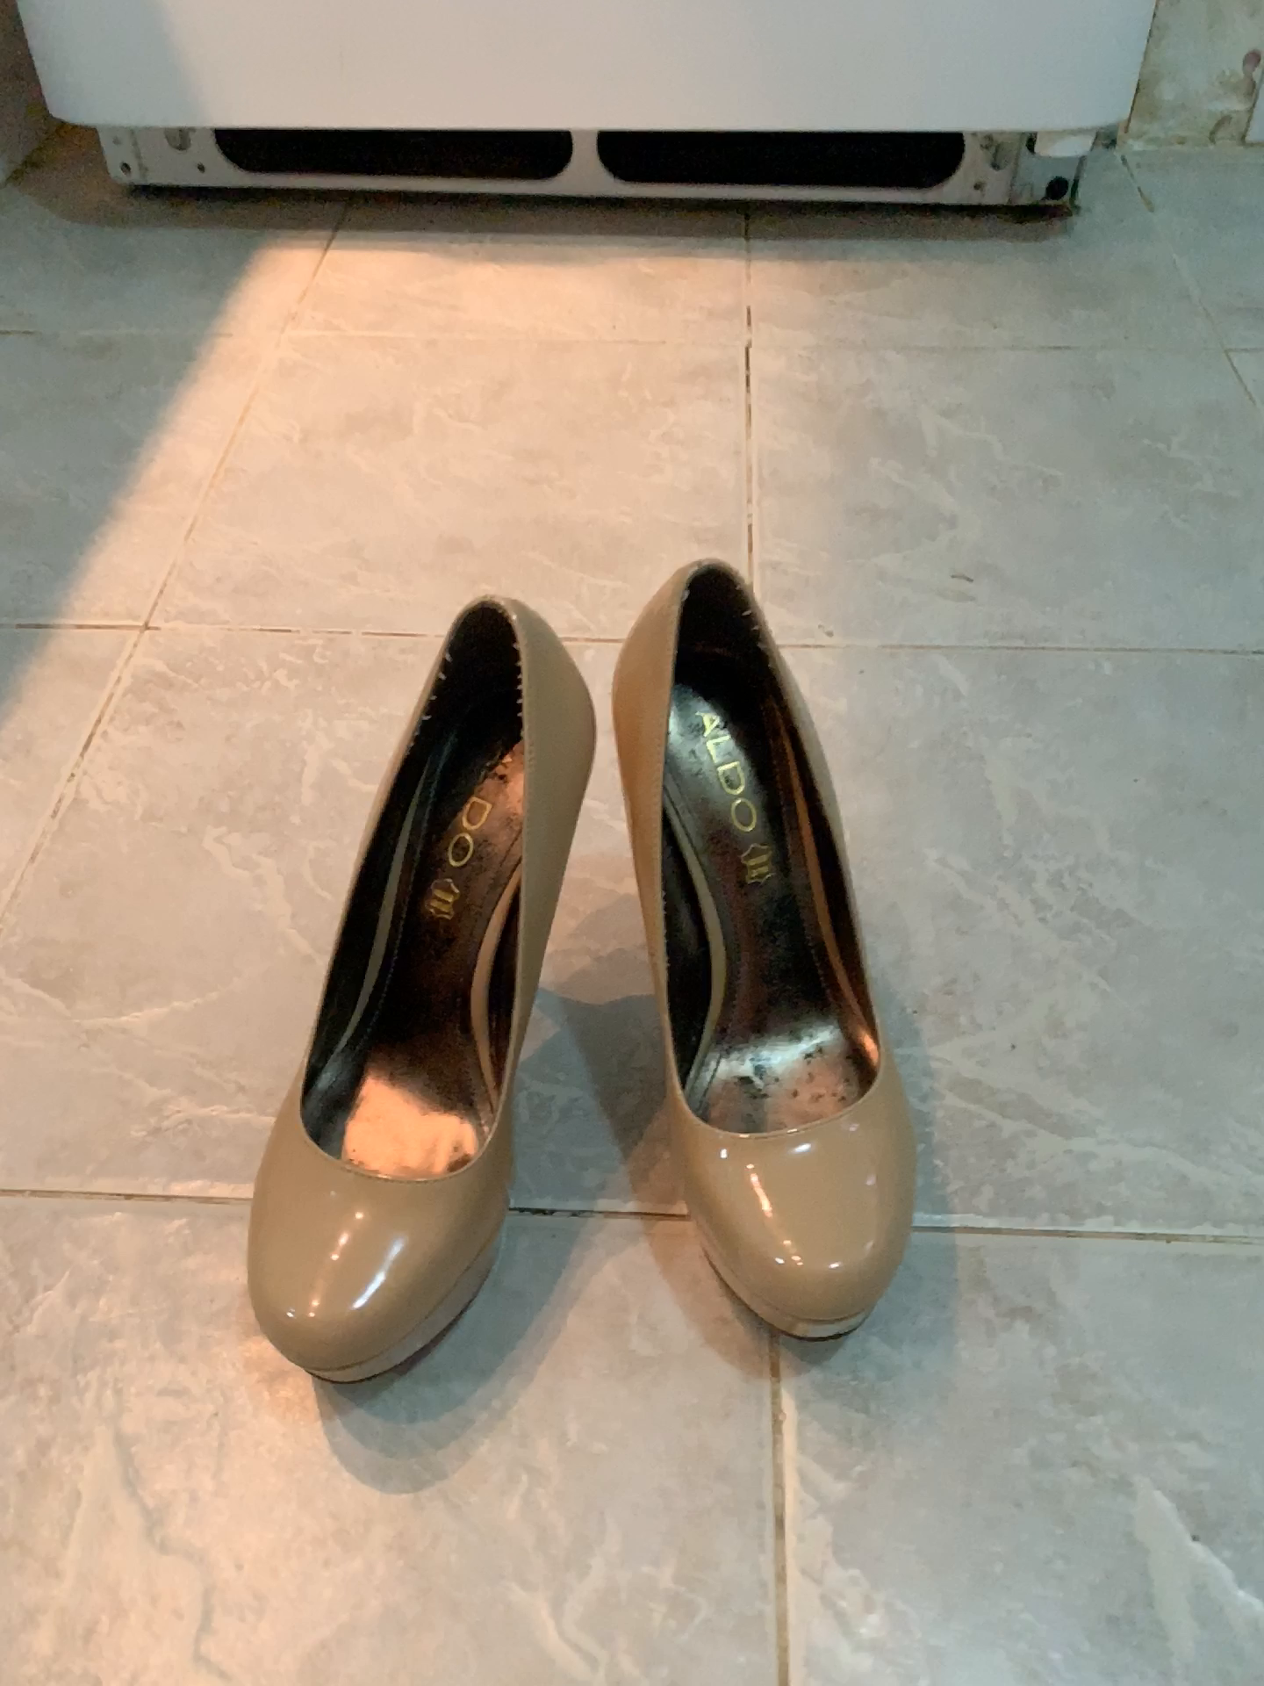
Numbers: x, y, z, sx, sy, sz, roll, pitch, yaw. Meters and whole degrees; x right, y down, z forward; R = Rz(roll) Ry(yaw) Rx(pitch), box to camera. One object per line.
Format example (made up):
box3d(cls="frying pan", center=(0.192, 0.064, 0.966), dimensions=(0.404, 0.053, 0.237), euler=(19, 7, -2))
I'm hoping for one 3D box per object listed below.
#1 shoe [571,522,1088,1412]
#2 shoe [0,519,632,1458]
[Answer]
box3d(cls="shoe", center=(0.040, 0.034, 0.404), dimensions=(0.087, 0.166, 0.211), euler=(-7, 48, -5))
box3d(cls="shoe", center=(-0.066, 0.040, 0.395), dimensions=(0.087, 0.176, 0.211), euler=(9, 48, 9))
